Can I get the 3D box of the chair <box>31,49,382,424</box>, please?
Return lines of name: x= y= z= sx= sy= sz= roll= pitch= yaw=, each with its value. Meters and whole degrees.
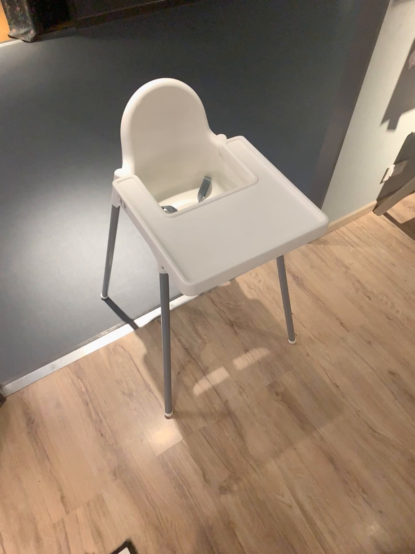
chair: x=-0.037 y=-0.096 z=1.297 sx=0.570 sy=0.798 sz=0.621 roll=-26 pitch=58 yaw=-20
